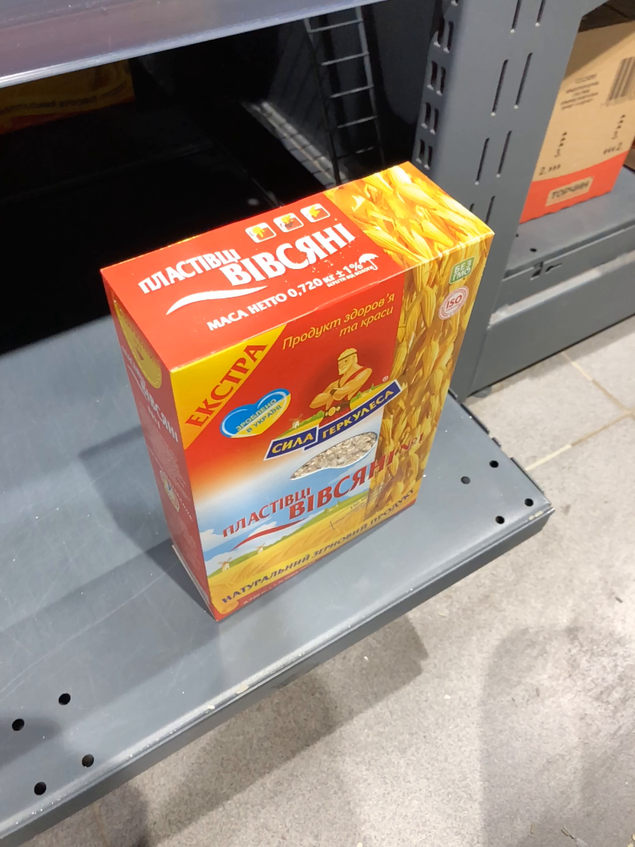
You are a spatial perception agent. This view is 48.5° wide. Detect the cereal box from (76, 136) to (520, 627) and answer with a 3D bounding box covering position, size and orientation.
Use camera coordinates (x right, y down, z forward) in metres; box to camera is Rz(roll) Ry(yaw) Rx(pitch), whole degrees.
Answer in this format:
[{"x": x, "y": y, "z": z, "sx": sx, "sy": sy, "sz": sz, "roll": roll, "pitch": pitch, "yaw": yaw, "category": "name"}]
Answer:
[{"x": -0.007, "y": -0.010, "z": 0.355, "sx": 0.160, "sy": 0.209, "sz": 0.070, "roll": -26, "pitch": 57, "yaw": -22, "category": "cereal box"}]
